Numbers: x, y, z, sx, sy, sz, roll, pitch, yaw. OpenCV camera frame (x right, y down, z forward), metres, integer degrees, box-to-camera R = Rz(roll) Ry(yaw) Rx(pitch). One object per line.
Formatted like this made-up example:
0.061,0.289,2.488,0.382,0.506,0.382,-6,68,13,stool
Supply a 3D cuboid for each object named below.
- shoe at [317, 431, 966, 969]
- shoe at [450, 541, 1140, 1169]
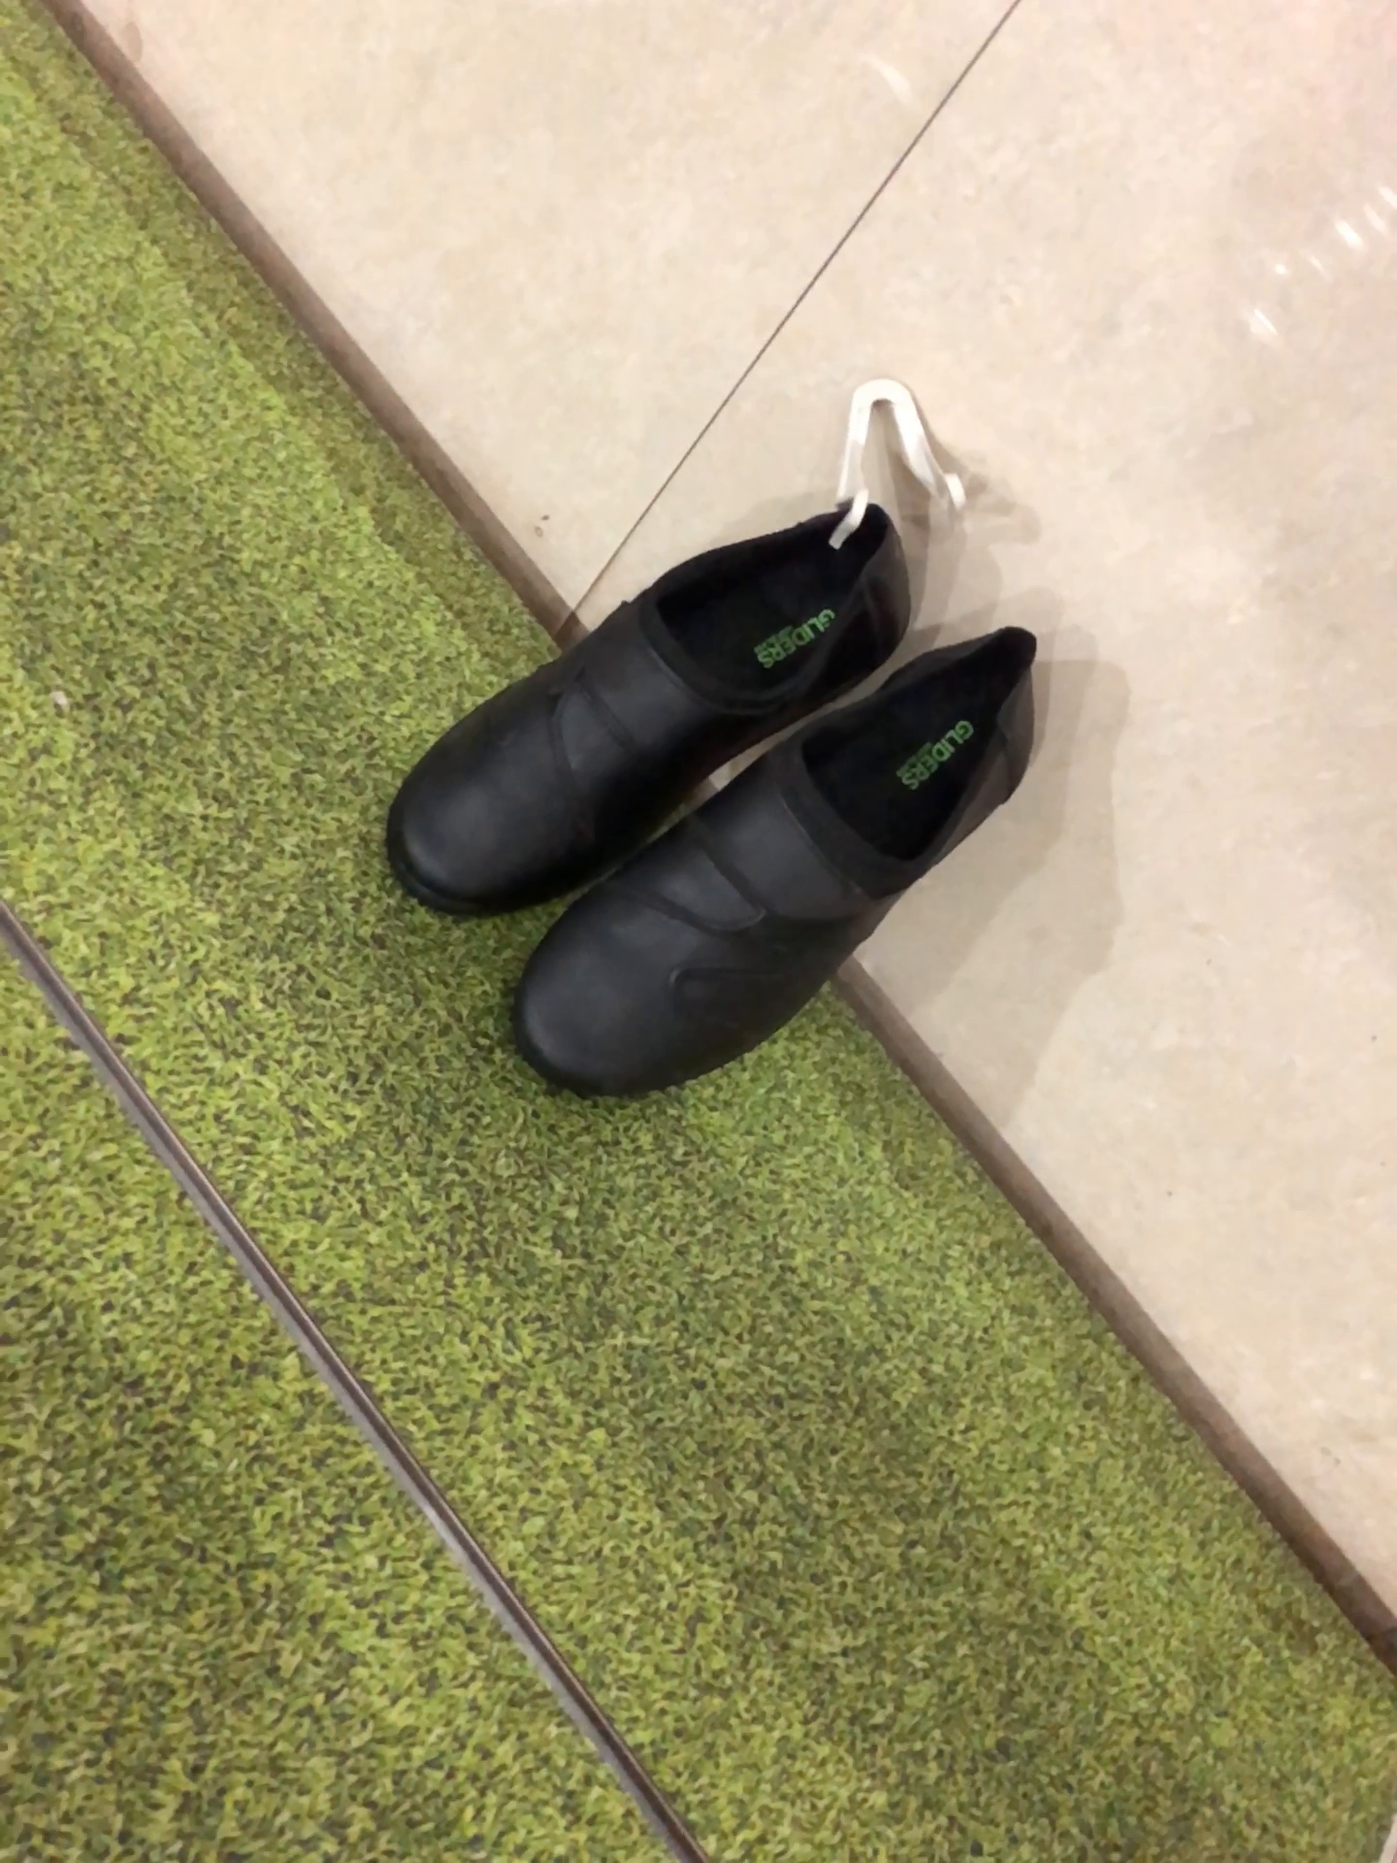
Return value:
-0.021,-0.085,0.575,0.074,0.228,0.067,55,168,3,shoe
0.035,-0.023,0.598,0.087,0.248,0.107,50,173,6,shoe
